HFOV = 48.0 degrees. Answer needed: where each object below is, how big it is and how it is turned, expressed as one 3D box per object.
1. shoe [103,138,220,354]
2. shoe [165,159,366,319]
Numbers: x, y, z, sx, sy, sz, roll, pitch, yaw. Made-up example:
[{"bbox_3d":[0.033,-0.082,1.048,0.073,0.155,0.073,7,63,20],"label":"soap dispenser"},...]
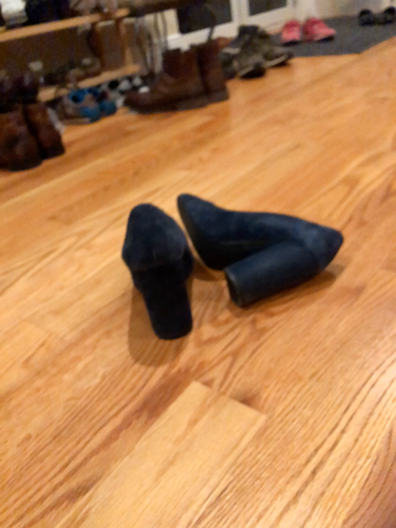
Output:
[{"bbox_3d":[-0.048,-0.036,0.508,0.080,0.146,0.227,-13,31,-4],"label":"shoe"},{"bbox_3d":[0.071,-0.045,0.543,0.152,0.080,0.205,-20,32,-15],"label":"shoe"}]
